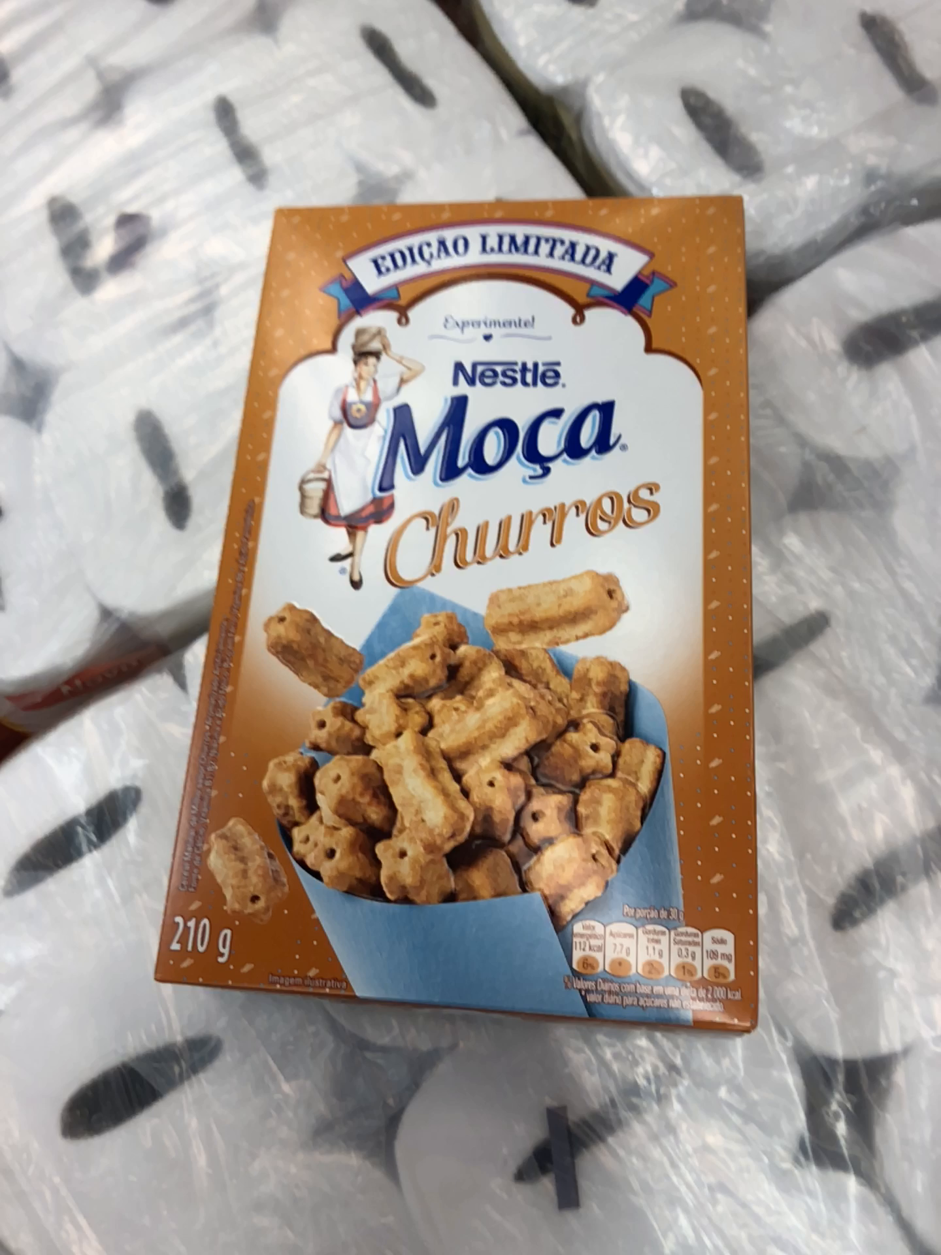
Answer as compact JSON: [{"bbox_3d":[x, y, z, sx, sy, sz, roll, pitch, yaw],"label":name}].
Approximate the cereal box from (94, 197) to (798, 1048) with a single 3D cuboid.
[{"bbox_3d":[0.001,-0.011,0.313,0.170,0.050,0.241,1,71,7],"label":"cereal box"}]
